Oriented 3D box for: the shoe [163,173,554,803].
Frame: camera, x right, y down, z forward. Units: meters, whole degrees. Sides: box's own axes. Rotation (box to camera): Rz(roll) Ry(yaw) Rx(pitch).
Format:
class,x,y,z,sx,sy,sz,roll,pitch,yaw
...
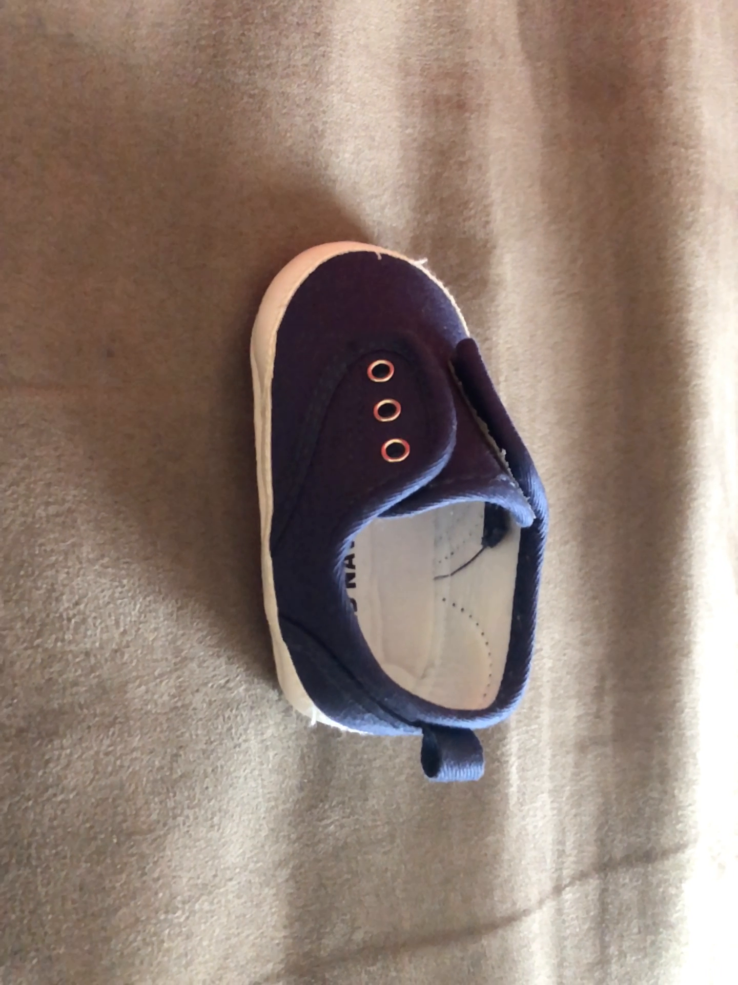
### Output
class,x,y,z,sx,sy,sz,roll,pitch,yaw
shoe,-0.005,0.000,0.185,0.060,0.060,0.110,4,90,-29
